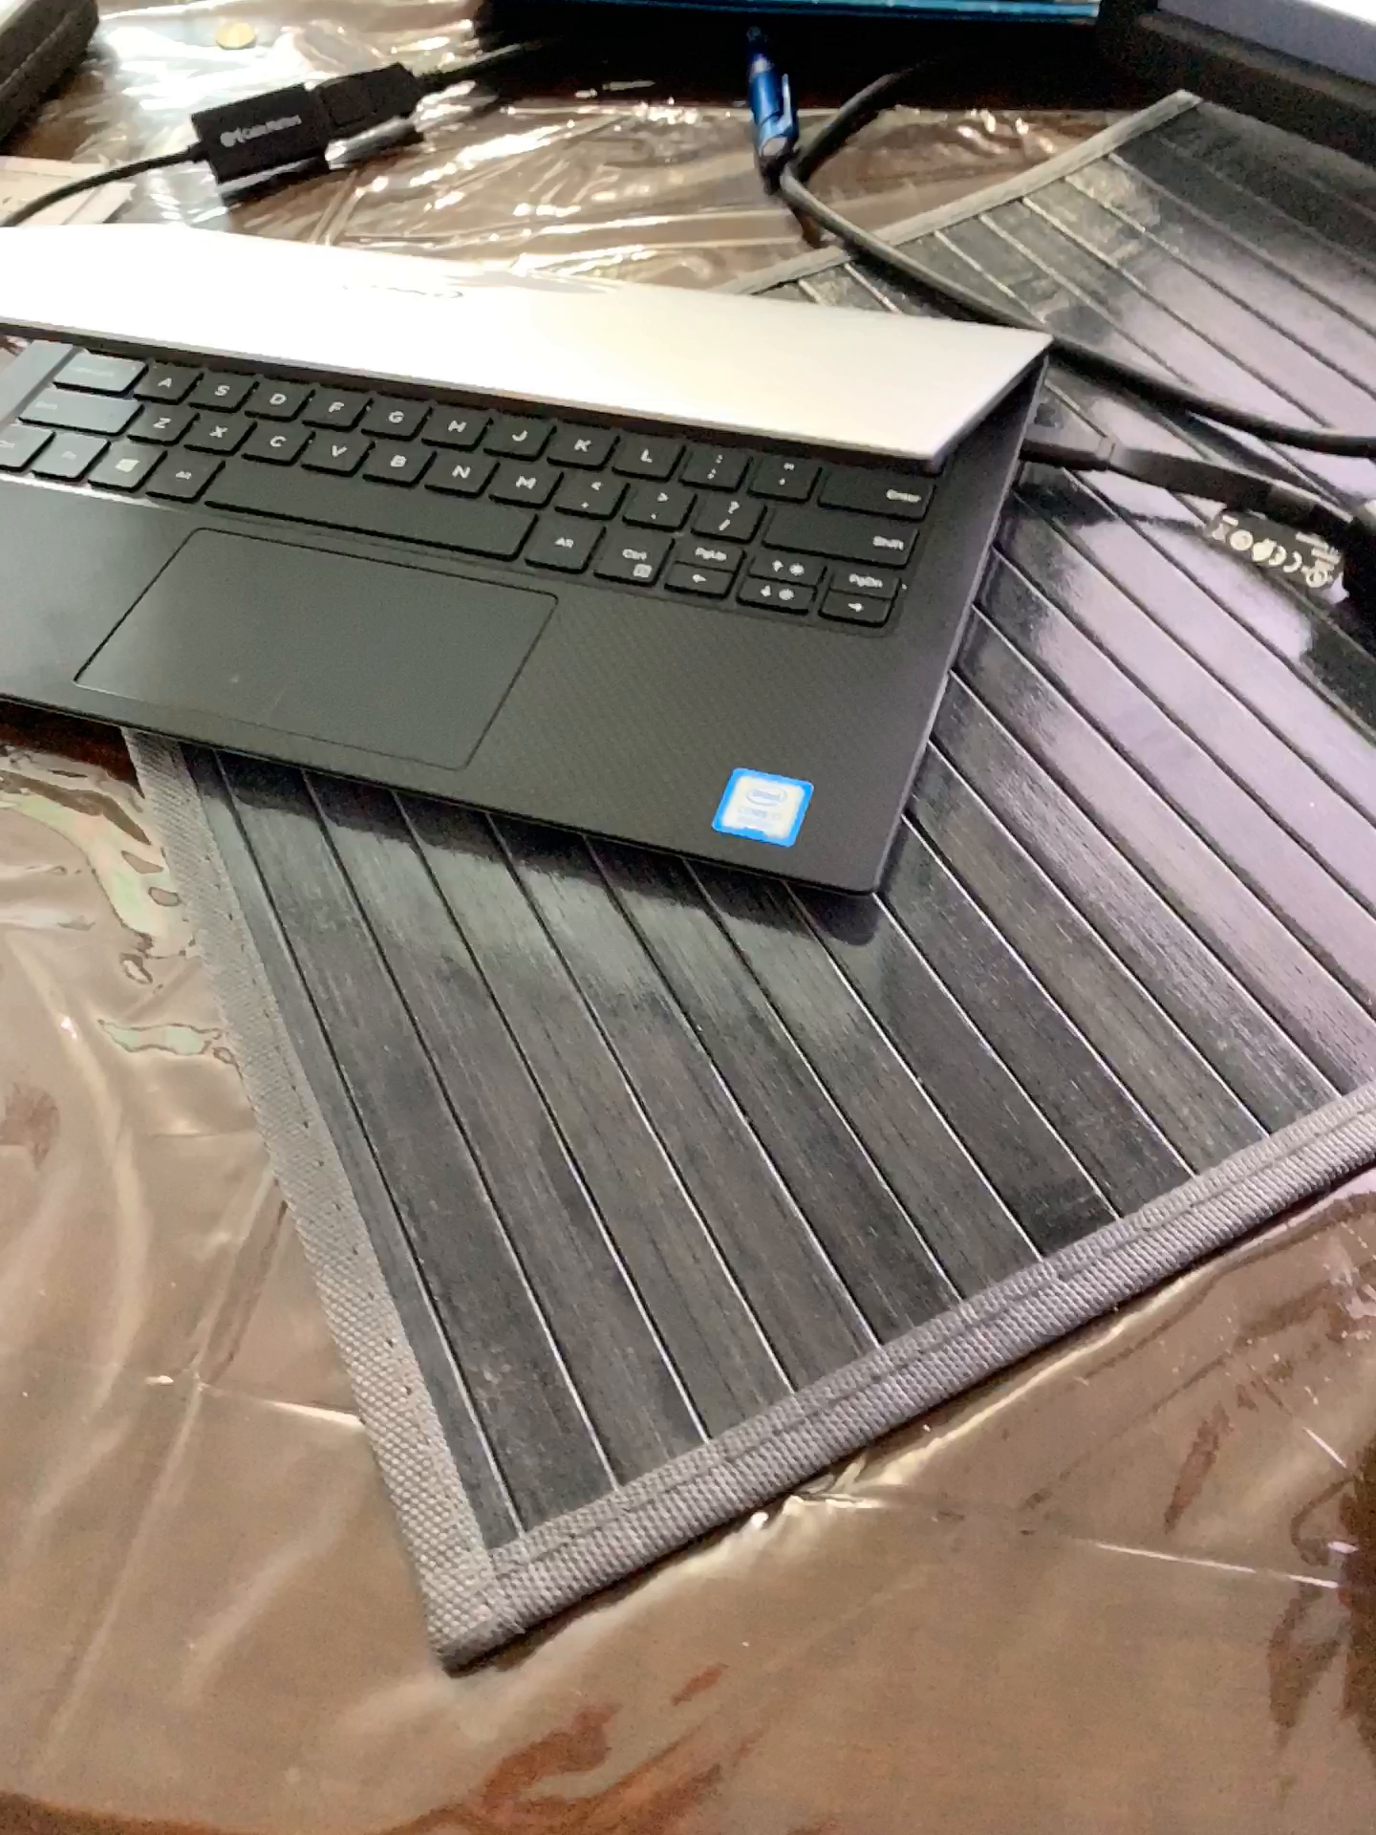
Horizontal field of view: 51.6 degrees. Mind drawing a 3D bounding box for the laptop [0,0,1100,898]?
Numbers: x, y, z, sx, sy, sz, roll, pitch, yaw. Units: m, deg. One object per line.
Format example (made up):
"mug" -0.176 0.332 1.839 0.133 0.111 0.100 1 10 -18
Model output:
"laptop" -0.072 -0.135 0.335 0.290 0.085 0.185 14 56 15
